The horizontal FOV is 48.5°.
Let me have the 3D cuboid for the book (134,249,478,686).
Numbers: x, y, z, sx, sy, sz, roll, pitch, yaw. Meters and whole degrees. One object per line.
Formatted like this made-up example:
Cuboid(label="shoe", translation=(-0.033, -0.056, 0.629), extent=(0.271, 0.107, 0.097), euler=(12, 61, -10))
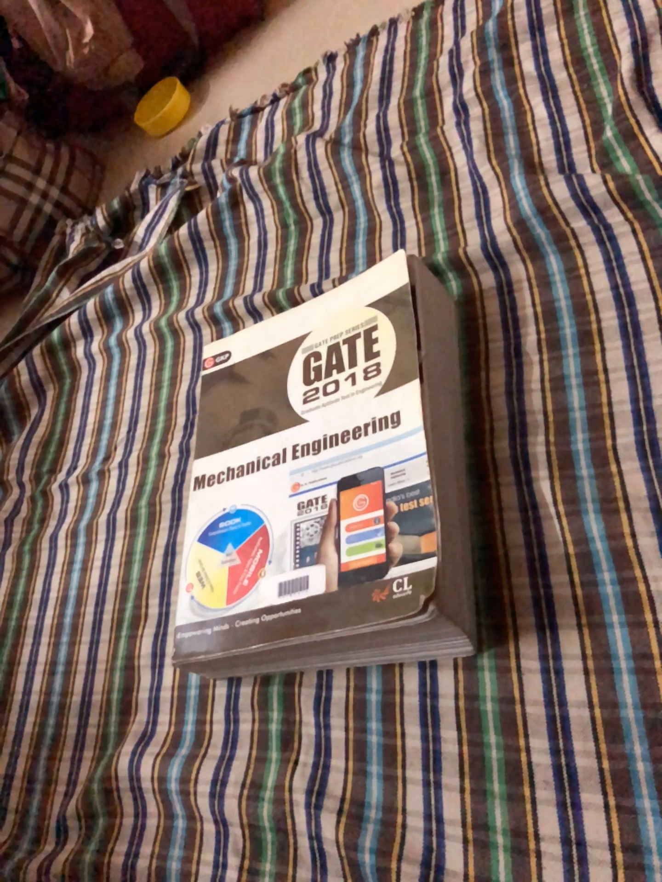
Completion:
Cuboid(label="book", translation=(-0.020, 0.022, 0.530), extent=(0.211, 0.075, 0.265), euler=(-17, 55, 28))
